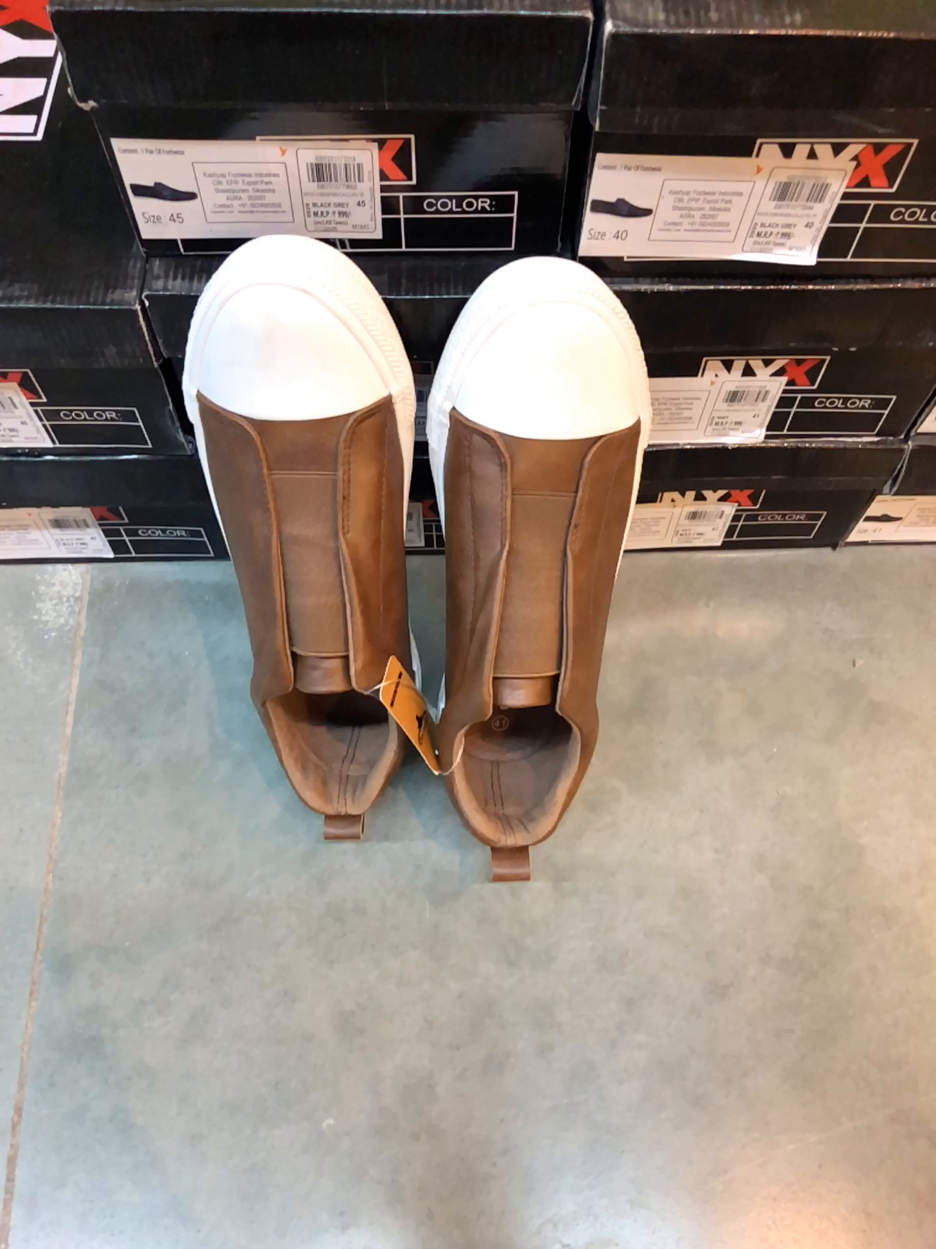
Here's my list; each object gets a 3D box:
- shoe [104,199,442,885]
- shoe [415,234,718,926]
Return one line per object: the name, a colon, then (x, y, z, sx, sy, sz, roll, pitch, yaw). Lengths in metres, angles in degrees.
shoe: (-0.067, -0.030, 0.441, 0.098, 0.268, 0.103, -3, 28, -2)
shoe: (0.029, -0.013, 0.434, 0.096, 0.271, 0.101, 1, 27, -1)
